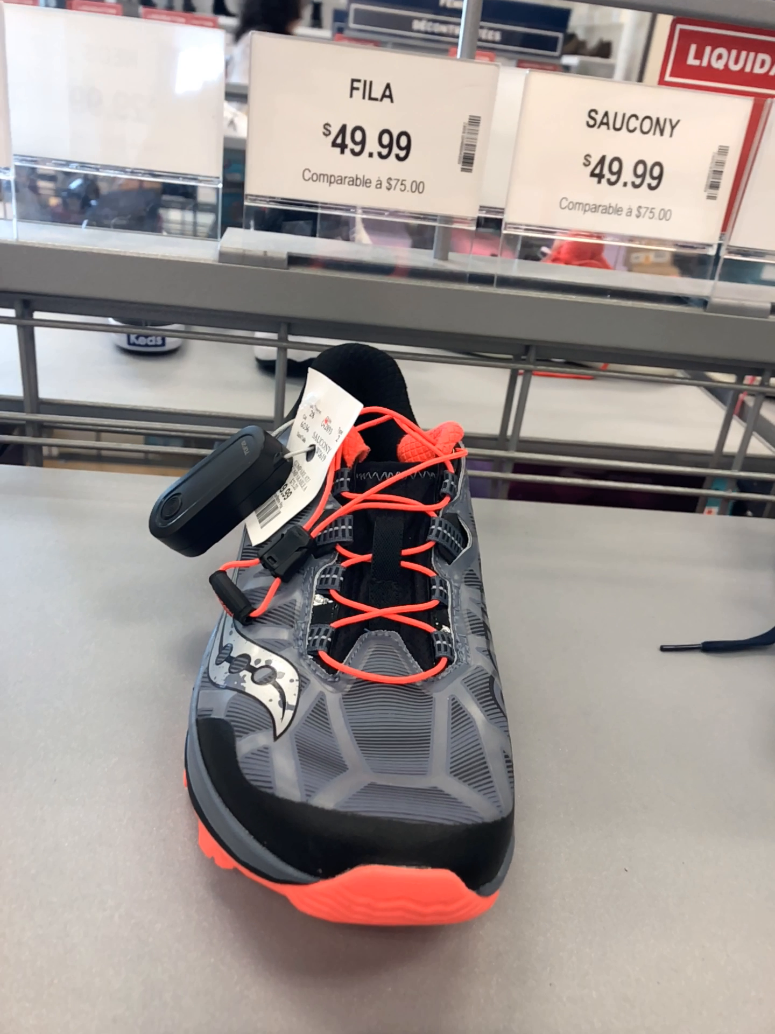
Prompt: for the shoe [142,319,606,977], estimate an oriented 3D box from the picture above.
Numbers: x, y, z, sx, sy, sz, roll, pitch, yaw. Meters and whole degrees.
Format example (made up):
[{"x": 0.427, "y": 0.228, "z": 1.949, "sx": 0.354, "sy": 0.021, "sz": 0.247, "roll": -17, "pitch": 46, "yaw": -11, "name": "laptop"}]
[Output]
[{"x": -0.021, "y": 0.016, "z": 0.354, "sx": 0.110, "sy": 0.109, "sz": 0.292, "roll": 3, "pitch": 28, "yaw": -8, "name": "shoe"}]
